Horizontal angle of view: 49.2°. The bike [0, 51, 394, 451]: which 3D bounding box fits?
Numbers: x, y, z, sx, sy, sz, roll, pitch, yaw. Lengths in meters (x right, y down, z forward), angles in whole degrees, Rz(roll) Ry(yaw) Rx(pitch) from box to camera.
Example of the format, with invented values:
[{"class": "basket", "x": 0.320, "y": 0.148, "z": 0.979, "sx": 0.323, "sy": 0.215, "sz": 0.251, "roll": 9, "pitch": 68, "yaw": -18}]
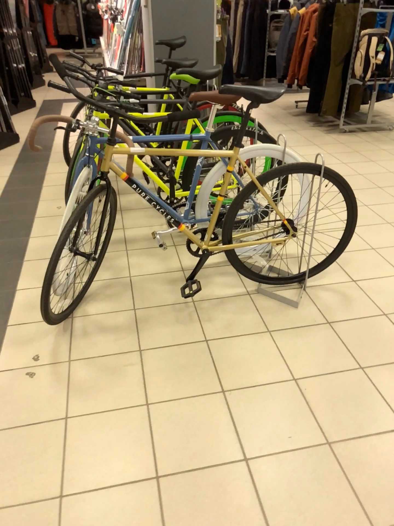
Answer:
[{"class": "bike", "x": 0.047, "y": -0.145, "z": 1.869, "sx": 1.464, "sy": 1.092, "sz": 0.675, "roll": -16, "pitch": 33, "yaw": -15}]
